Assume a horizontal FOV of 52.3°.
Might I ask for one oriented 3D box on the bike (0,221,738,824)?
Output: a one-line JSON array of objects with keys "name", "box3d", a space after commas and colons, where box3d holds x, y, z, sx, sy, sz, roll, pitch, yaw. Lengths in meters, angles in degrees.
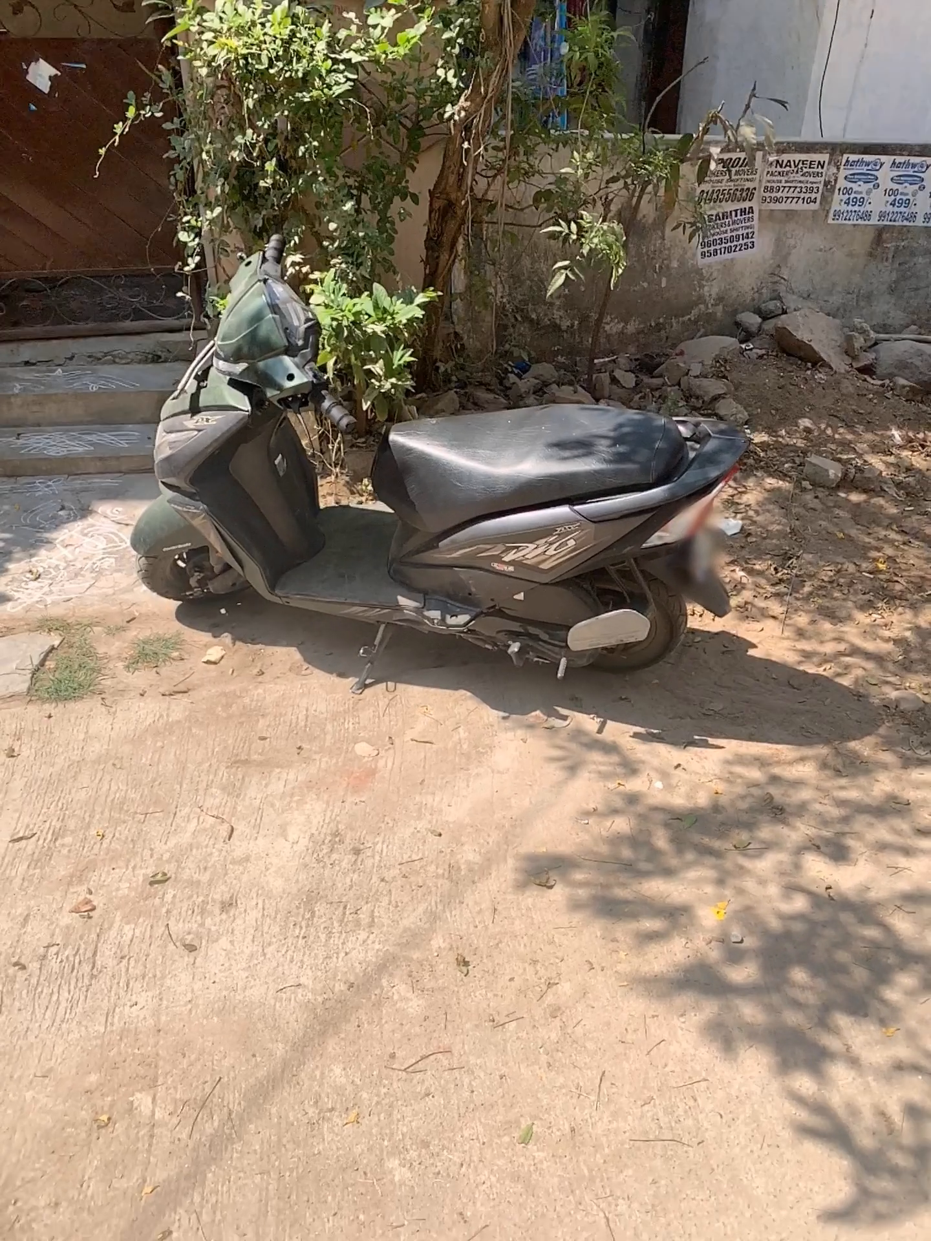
[{"name": "bike", "box3d": [-0.215, -0.244, 2.323, 1.528, 1.174, 0.627, 6, 32, 6]}]
